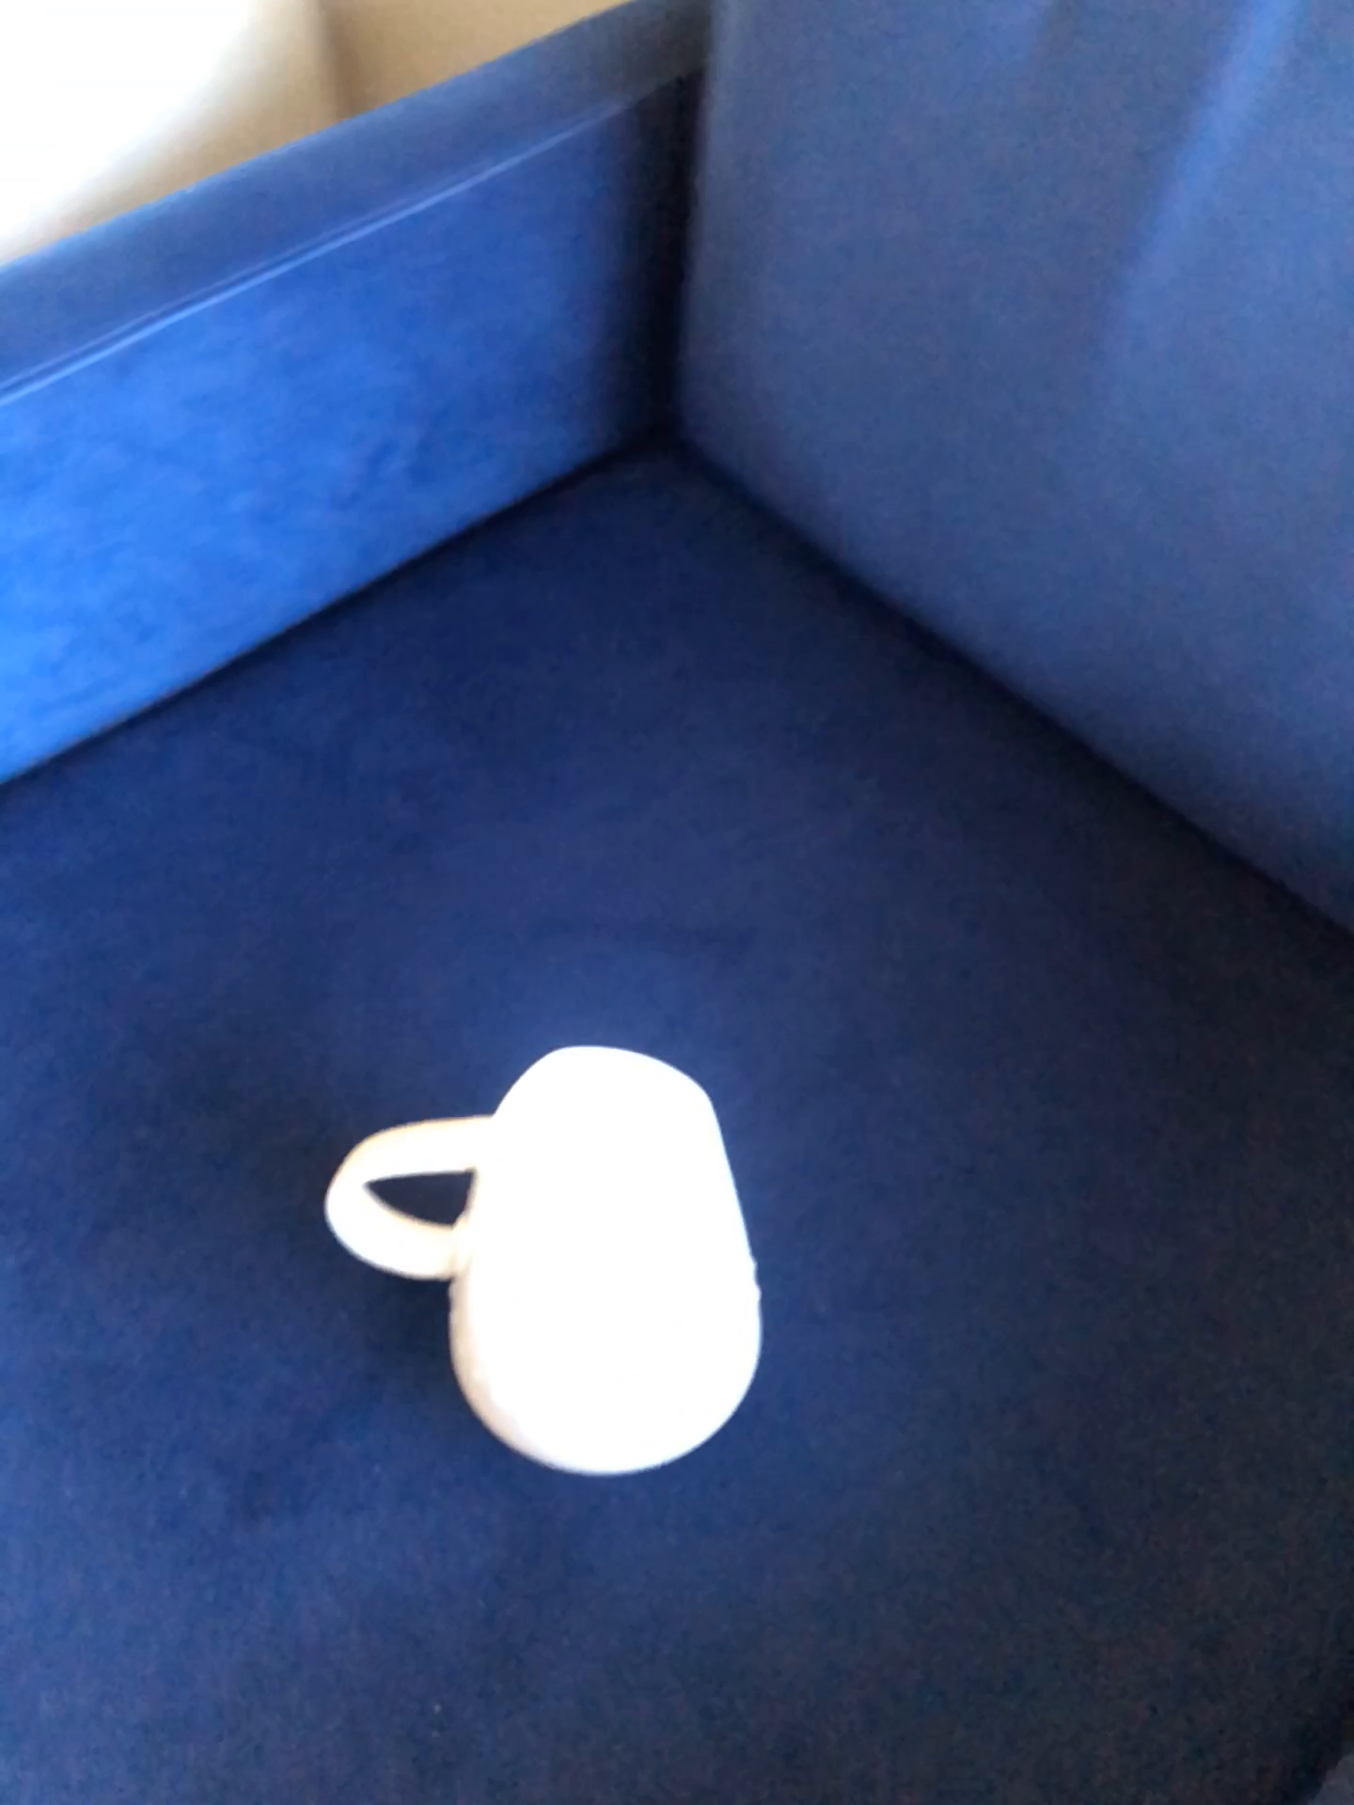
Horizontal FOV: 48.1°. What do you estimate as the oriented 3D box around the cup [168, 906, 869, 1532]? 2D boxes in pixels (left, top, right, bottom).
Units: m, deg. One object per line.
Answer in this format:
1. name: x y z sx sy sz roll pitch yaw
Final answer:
1. cup: -0.034 0.085 0.421 0.150 0.090 0.110 11 54 11
